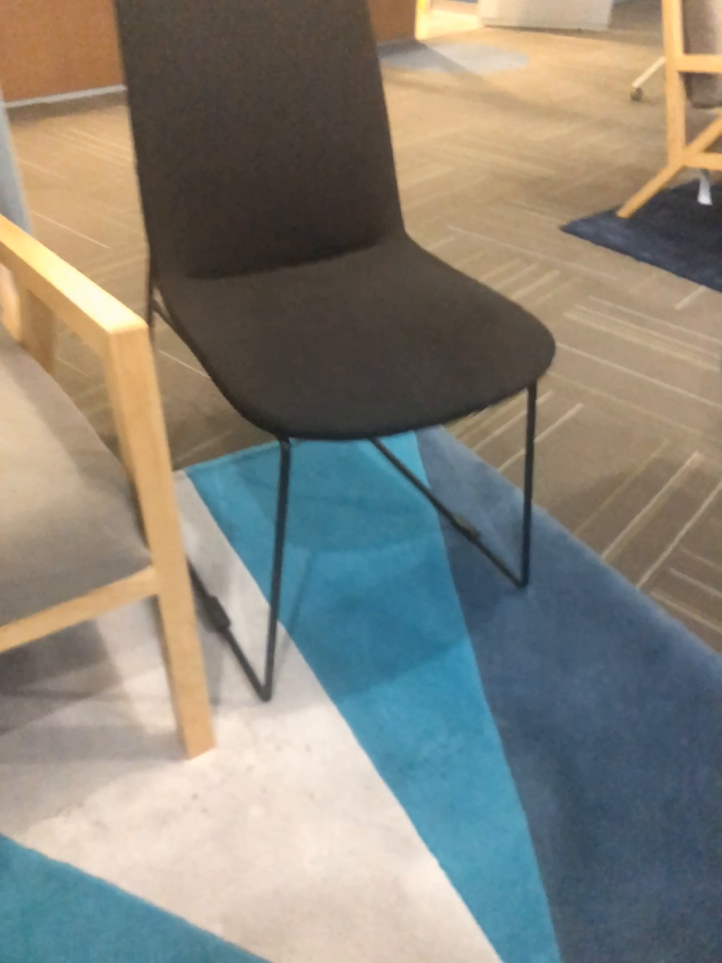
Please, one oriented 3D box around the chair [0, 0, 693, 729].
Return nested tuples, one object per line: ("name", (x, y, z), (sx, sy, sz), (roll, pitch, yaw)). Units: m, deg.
("chair", (-0.084, -0.258, 1.125), (0.502, 0.824, 0.683), (-18, 42, -24))
